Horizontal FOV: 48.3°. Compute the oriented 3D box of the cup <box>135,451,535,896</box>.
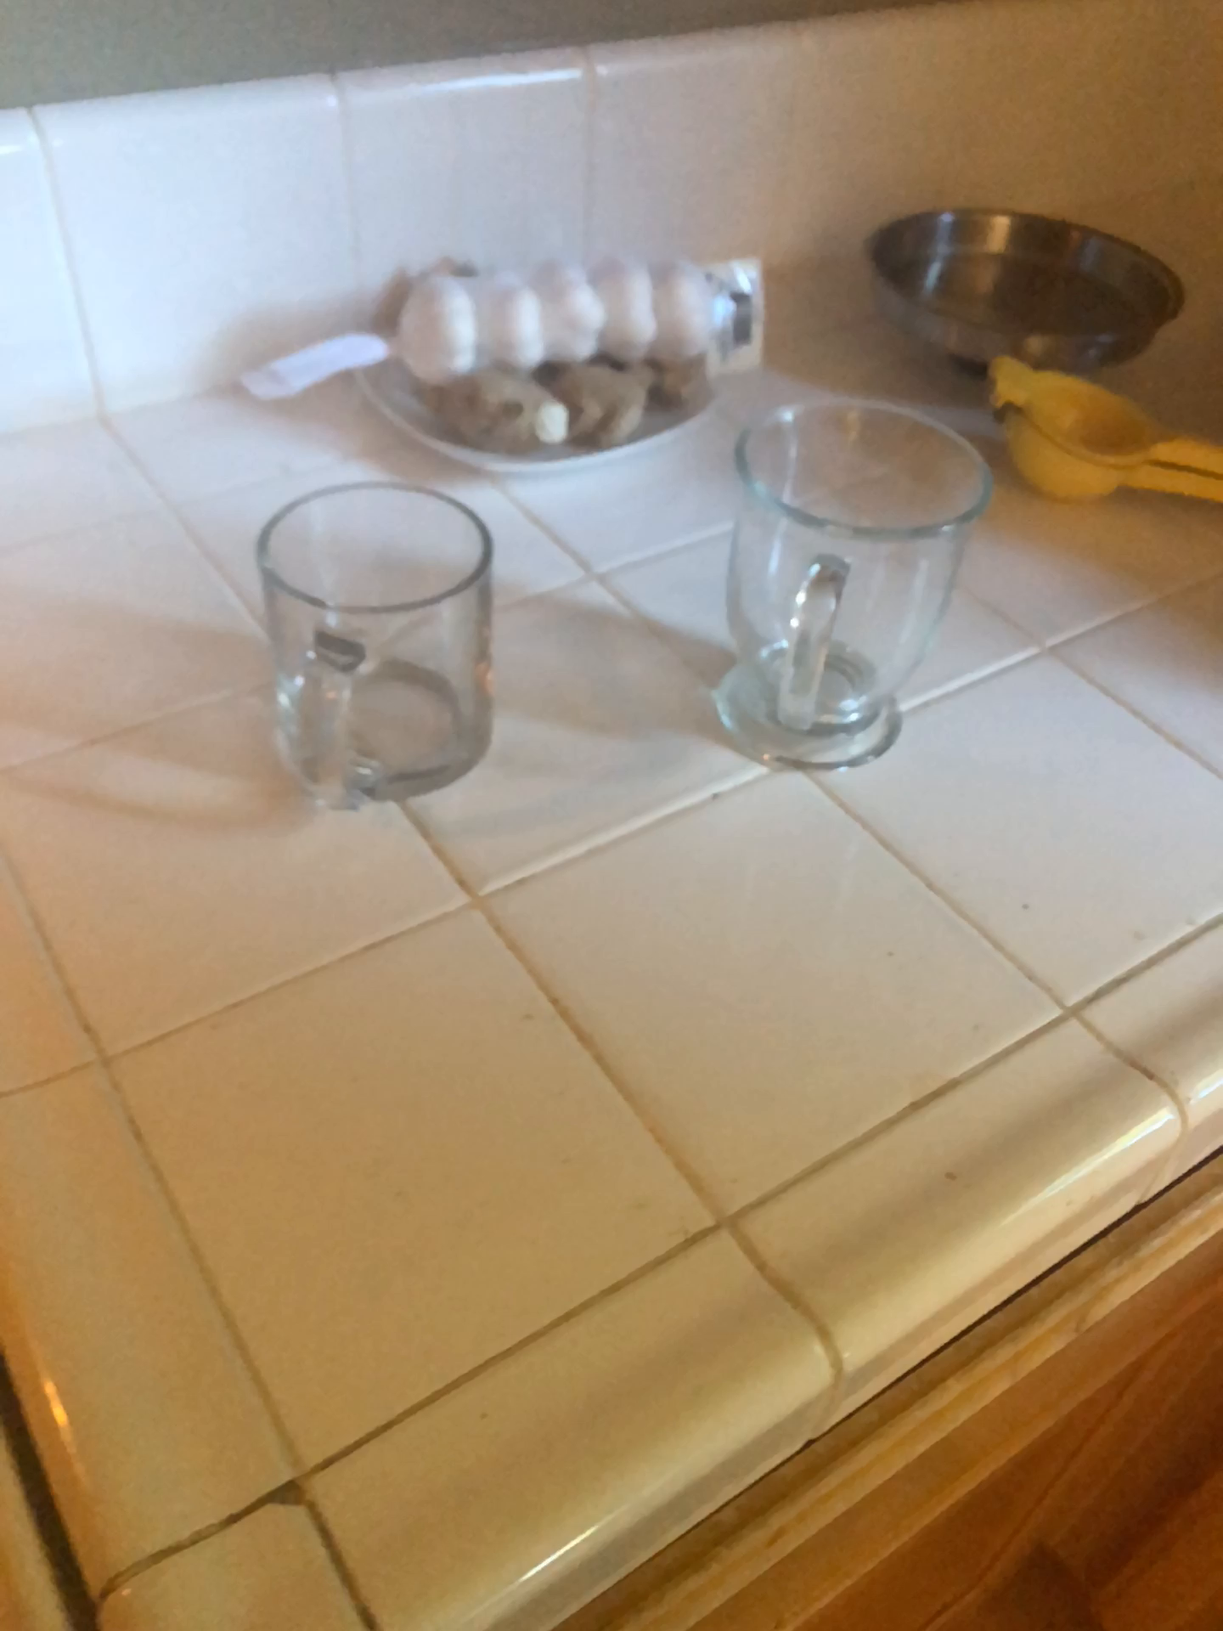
[{"bbox_3d":[-0.096,-0.057,0.515,0.090,0.089,0.131,16,45,11],"label":"cup"}]

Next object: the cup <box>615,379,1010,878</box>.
[{"bbox_3d":[0.076,-0.075,0.526,0.090,0.119,0.131,23,47,17],"label":"cup"}]
